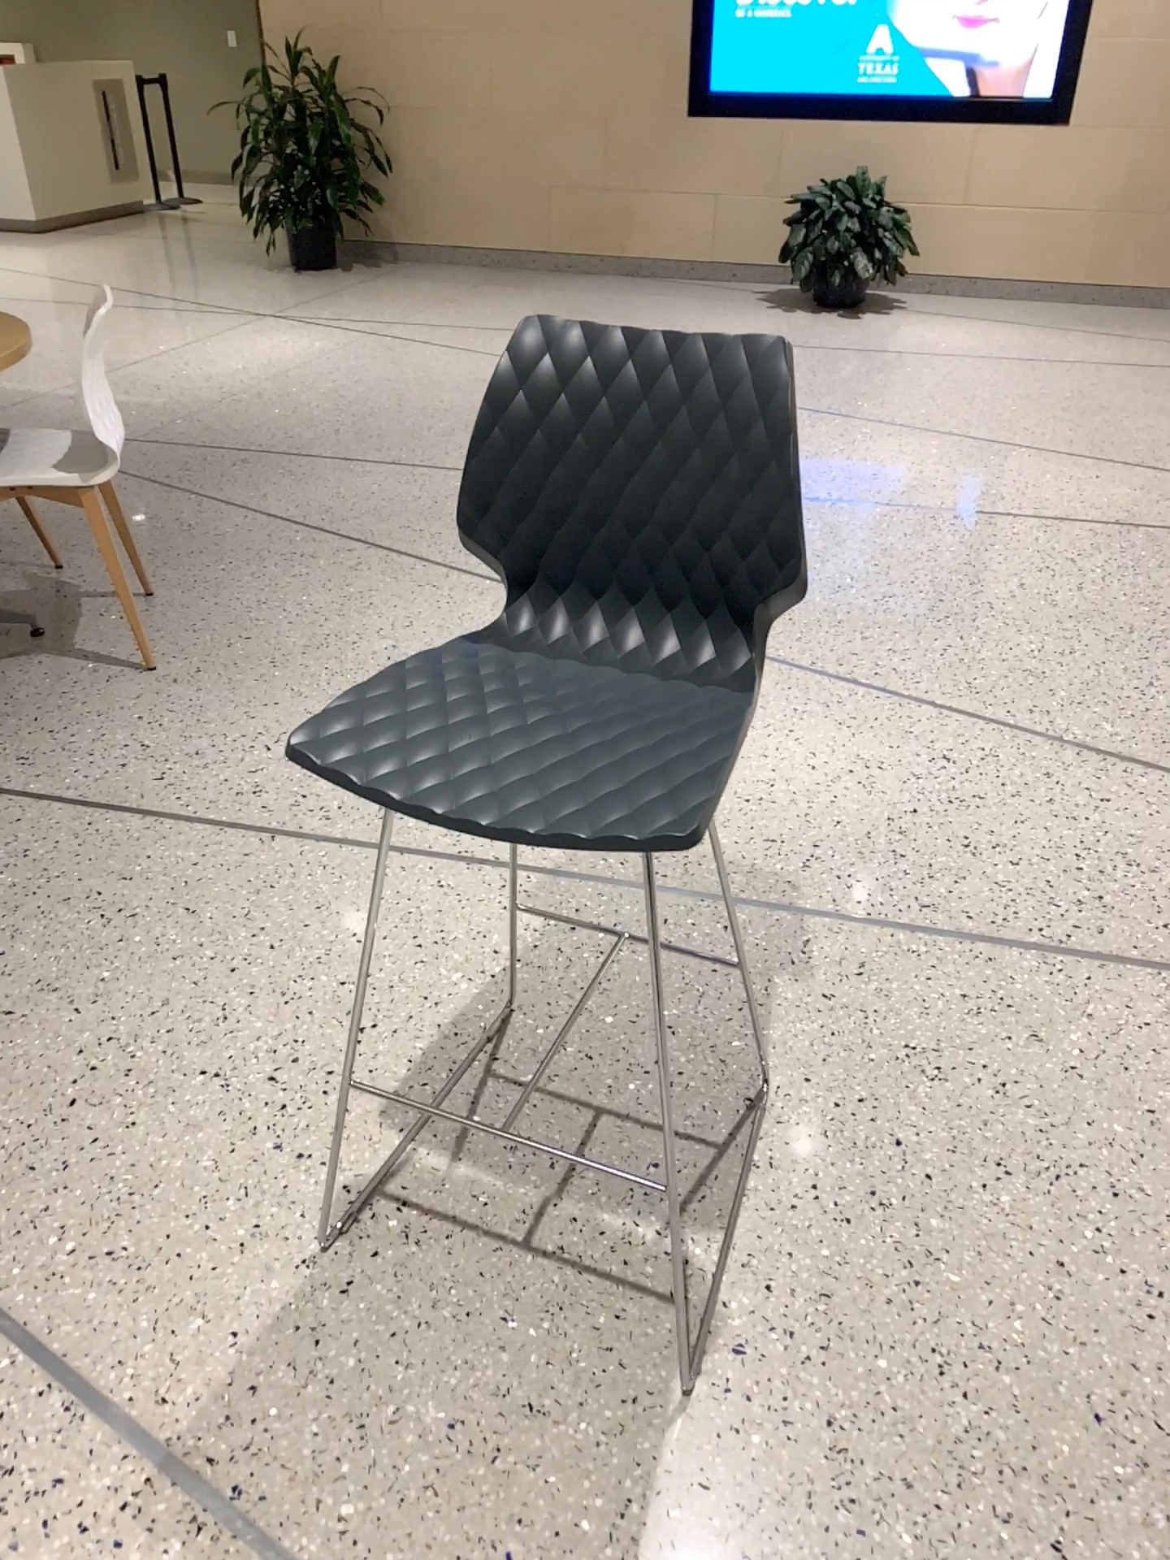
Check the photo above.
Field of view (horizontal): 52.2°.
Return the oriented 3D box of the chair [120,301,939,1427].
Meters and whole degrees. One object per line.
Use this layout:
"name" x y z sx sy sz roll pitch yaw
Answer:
"chair" -0.014 0.073 1.307 0.535 0.995 0.535 14 34 20
